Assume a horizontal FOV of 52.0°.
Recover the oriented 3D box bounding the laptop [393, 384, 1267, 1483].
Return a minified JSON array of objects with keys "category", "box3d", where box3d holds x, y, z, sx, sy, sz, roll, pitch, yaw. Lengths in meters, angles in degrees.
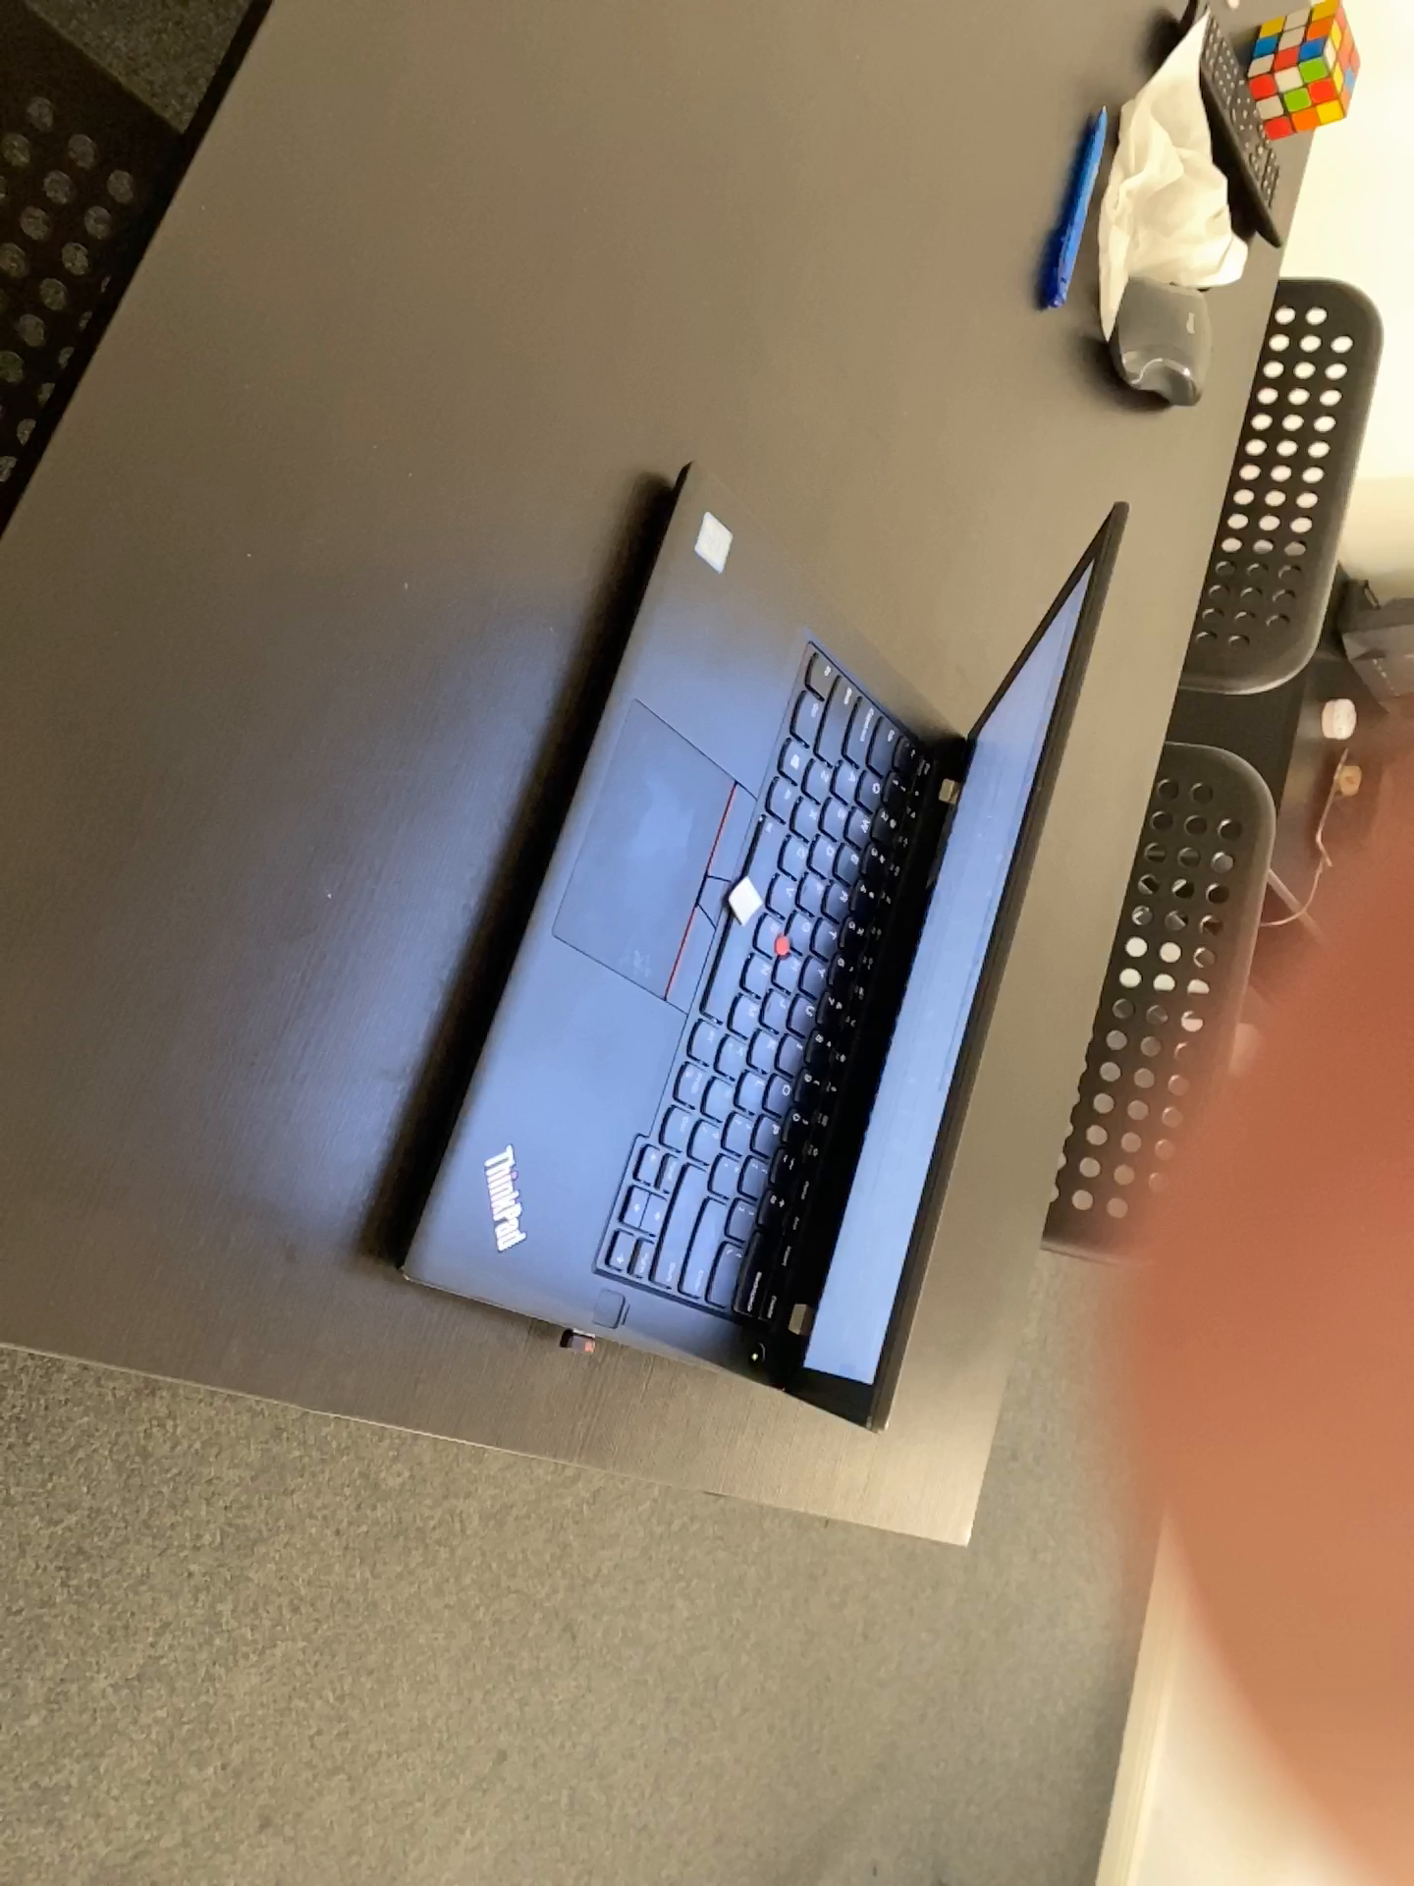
[{"category":"laptop","box3d":[0.064,0.008,0.517,0.217,0.138,0.299,32,70,-45]}]
